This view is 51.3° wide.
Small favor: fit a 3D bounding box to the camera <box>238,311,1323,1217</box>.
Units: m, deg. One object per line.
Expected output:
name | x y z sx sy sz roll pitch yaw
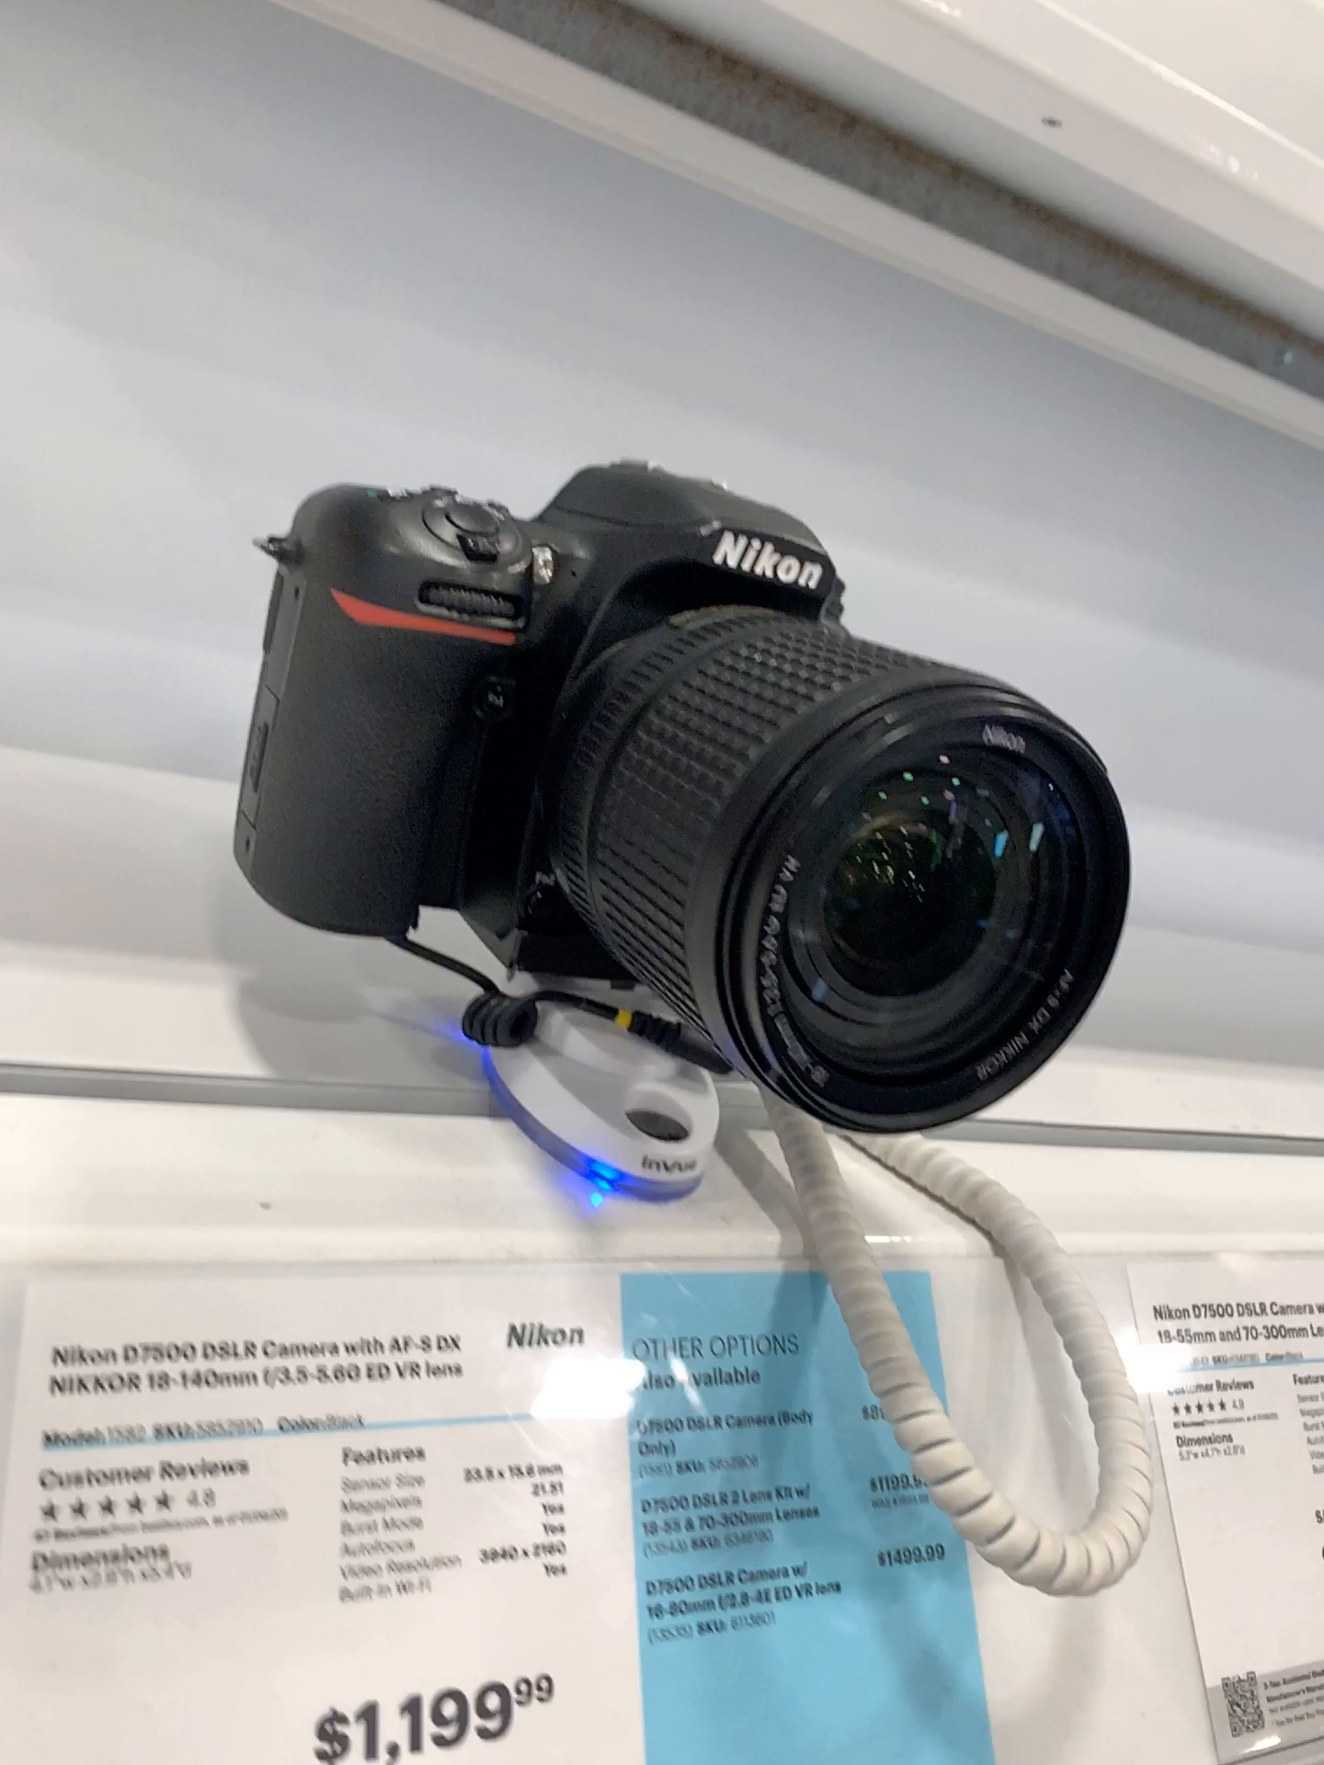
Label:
camera | 0.012 -0.027 0.265 0.131 0.107 0.172 7 12 -31
